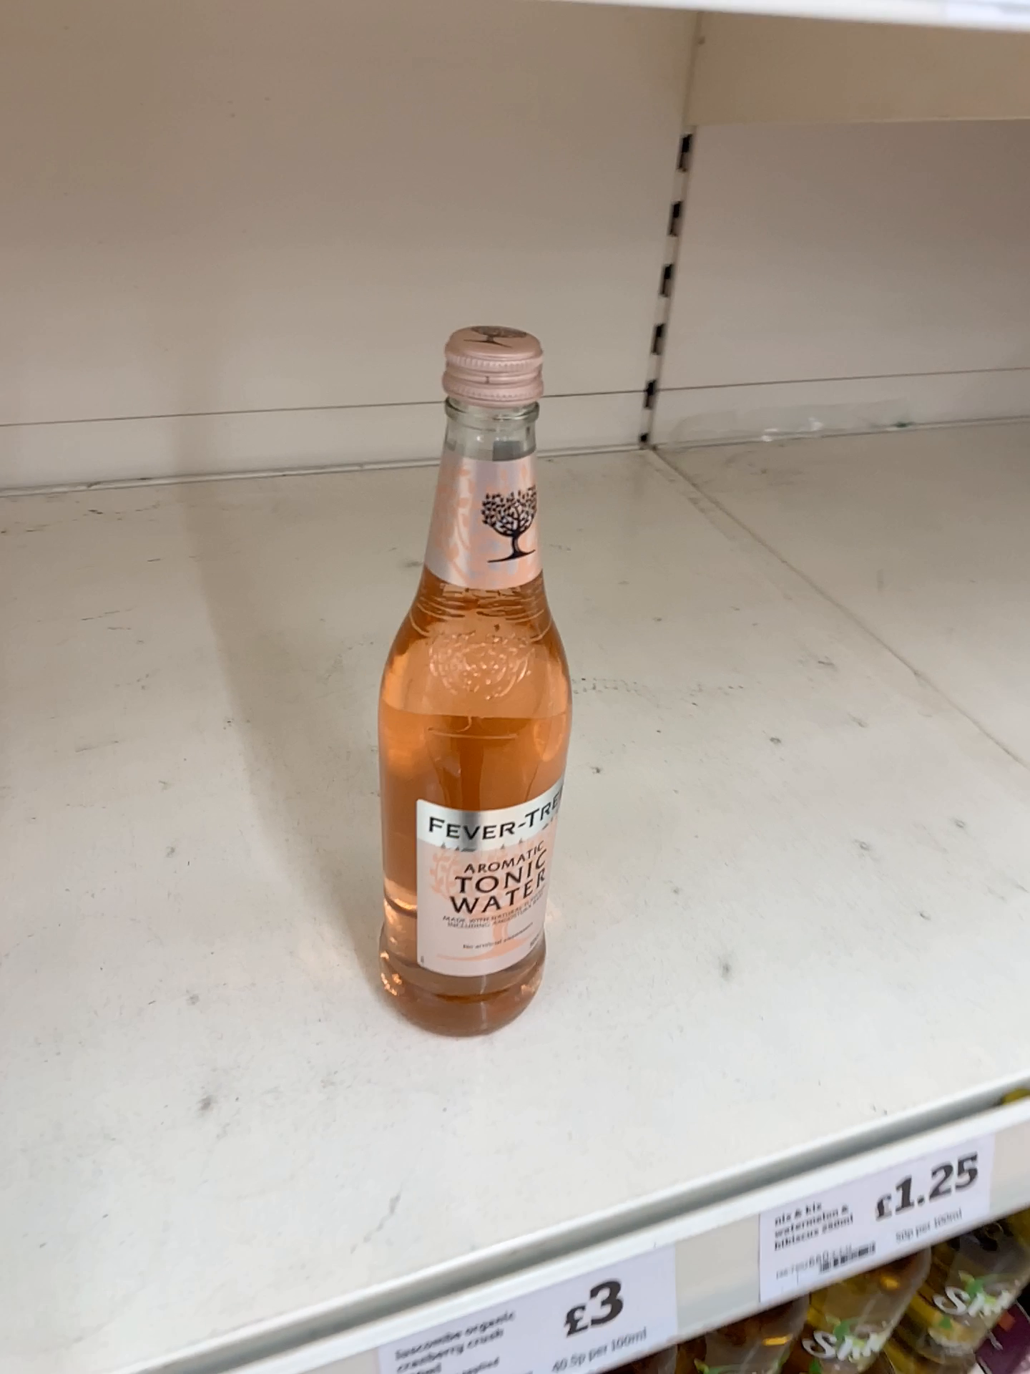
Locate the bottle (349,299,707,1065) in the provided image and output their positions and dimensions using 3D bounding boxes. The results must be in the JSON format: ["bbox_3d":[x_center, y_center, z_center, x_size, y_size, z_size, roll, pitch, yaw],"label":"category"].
[{"bbox_3d":[-0.007,0.009,0.362,0.078,0.254,0.068,-12,37,-23],"label":"bottle"}]
